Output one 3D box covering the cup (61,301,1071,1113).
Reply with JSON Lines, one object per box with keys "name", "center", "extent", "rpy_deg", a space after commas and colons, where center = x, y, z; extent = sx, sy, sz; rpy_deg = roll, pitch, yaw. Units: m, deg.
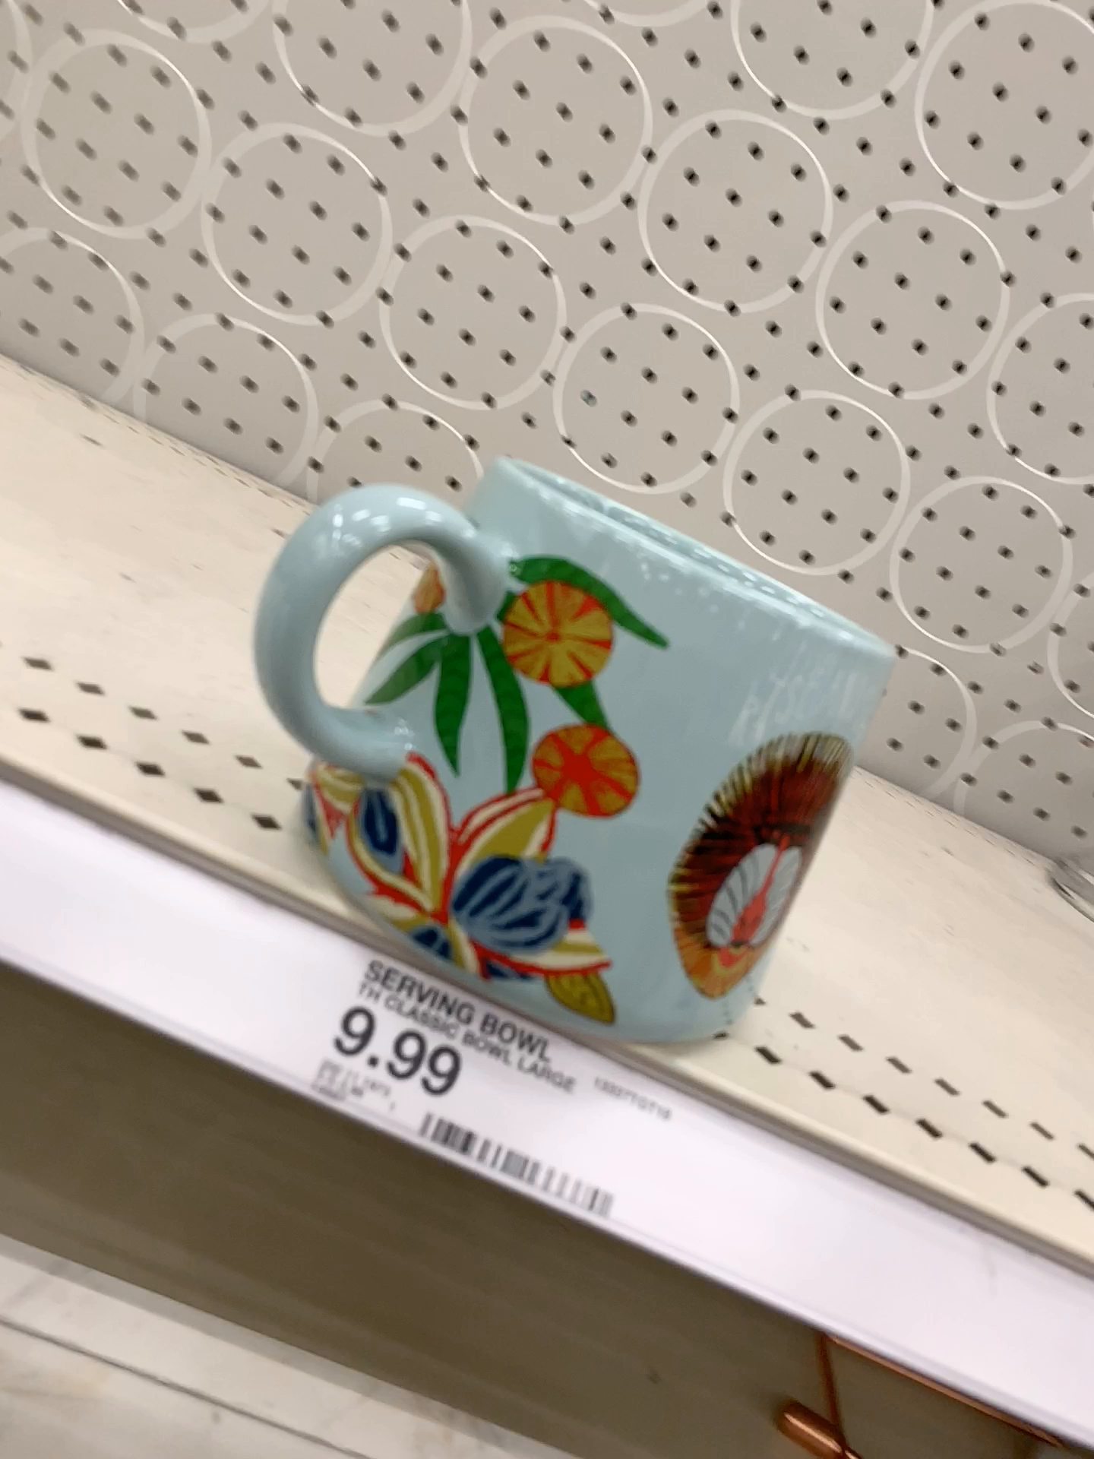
{"name": "cup", "center": [-0.001, -0.003, 0.227], "extent": [0.140, 0.090, 0.120], "rpy_deg": [14, 19, -39]}
